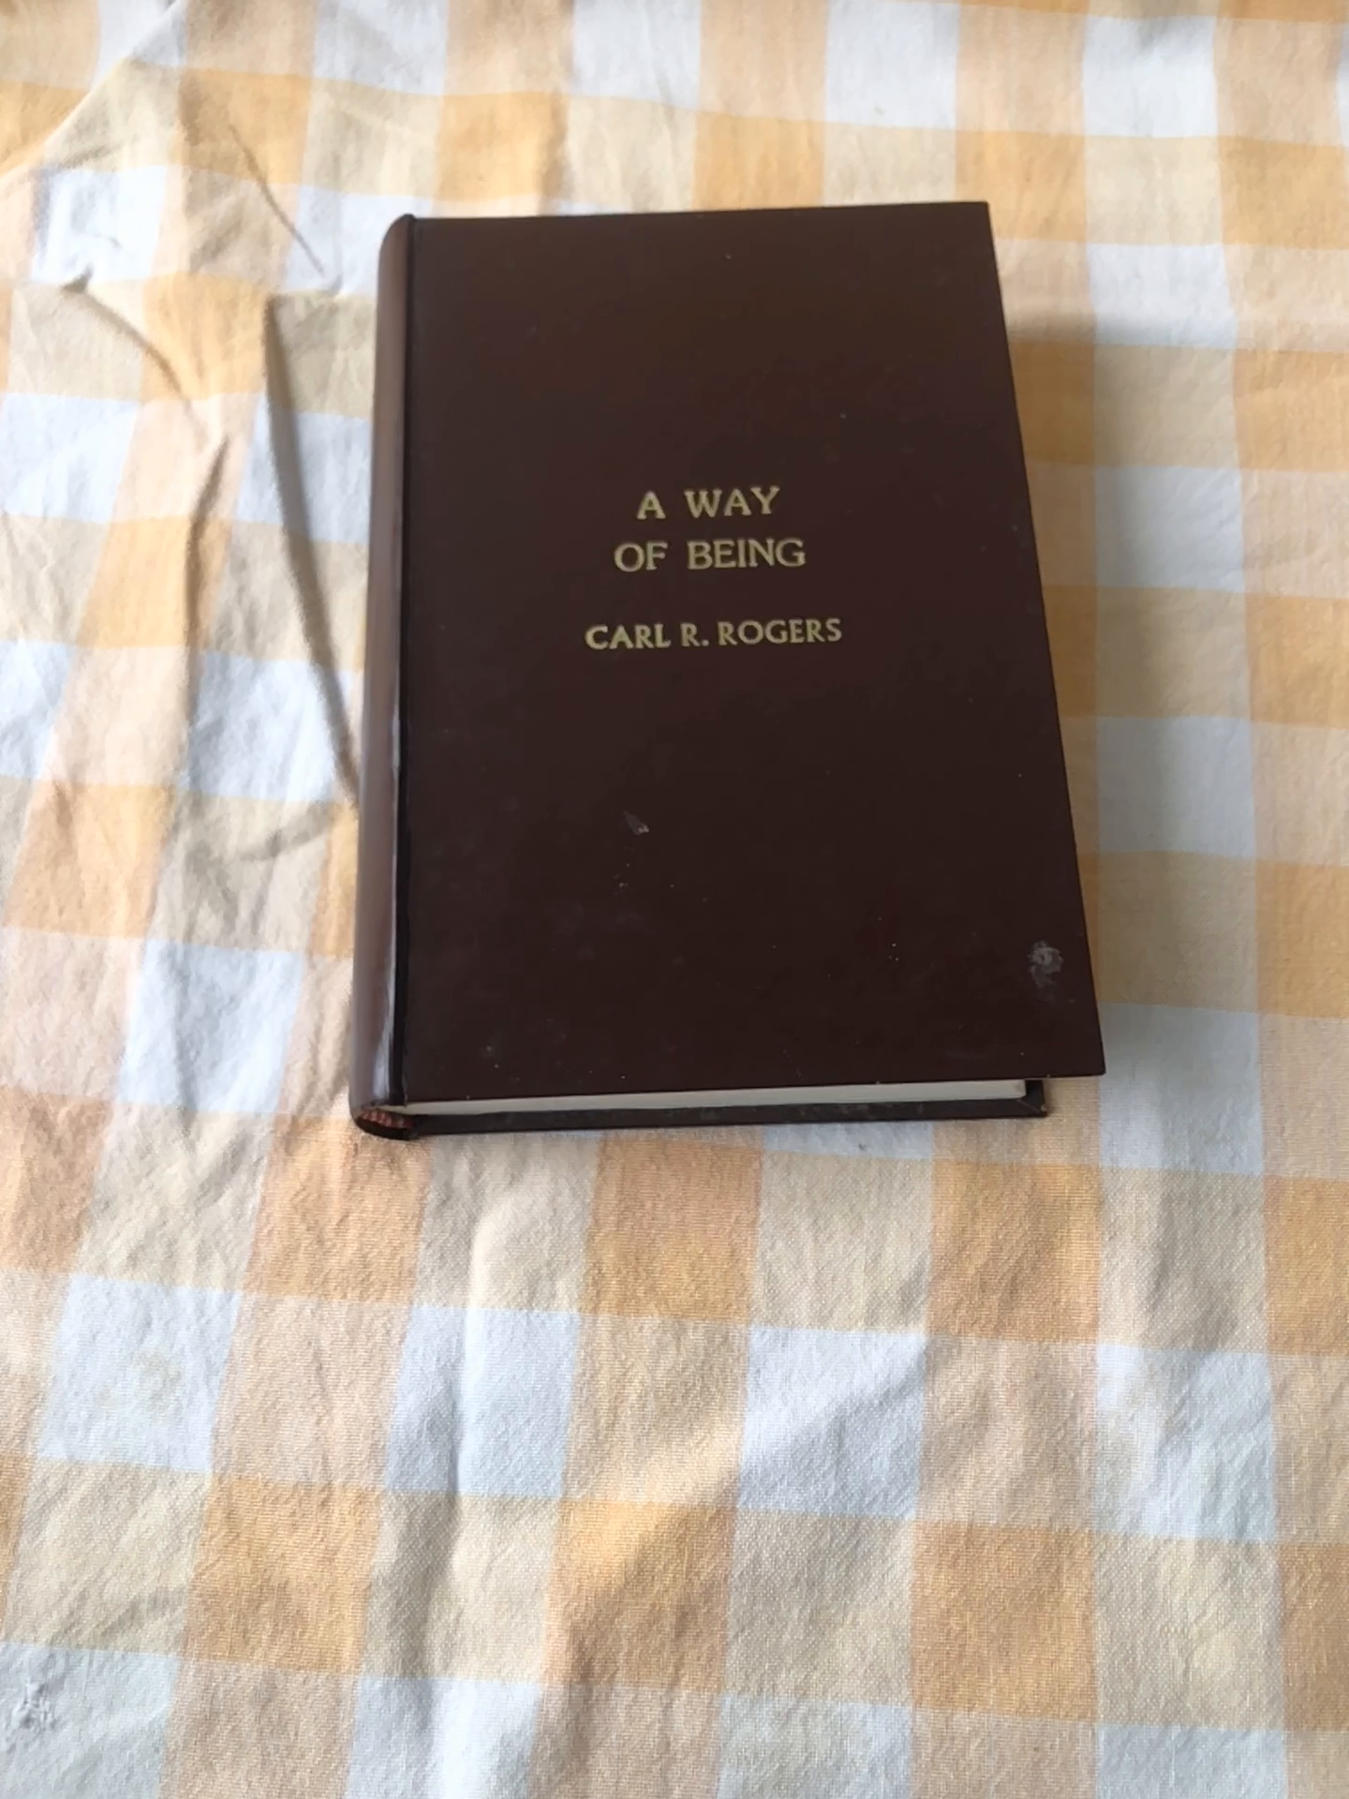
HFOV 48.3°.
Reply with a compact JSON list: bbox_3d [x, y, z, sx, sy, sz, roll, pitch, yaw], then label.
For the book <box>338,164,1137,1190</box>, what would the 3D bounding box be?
[{"bbox_3d":[0.006,-0.051,0.325,0.140,0.060,0.210,-3,71,-1],"label":"book"}]
